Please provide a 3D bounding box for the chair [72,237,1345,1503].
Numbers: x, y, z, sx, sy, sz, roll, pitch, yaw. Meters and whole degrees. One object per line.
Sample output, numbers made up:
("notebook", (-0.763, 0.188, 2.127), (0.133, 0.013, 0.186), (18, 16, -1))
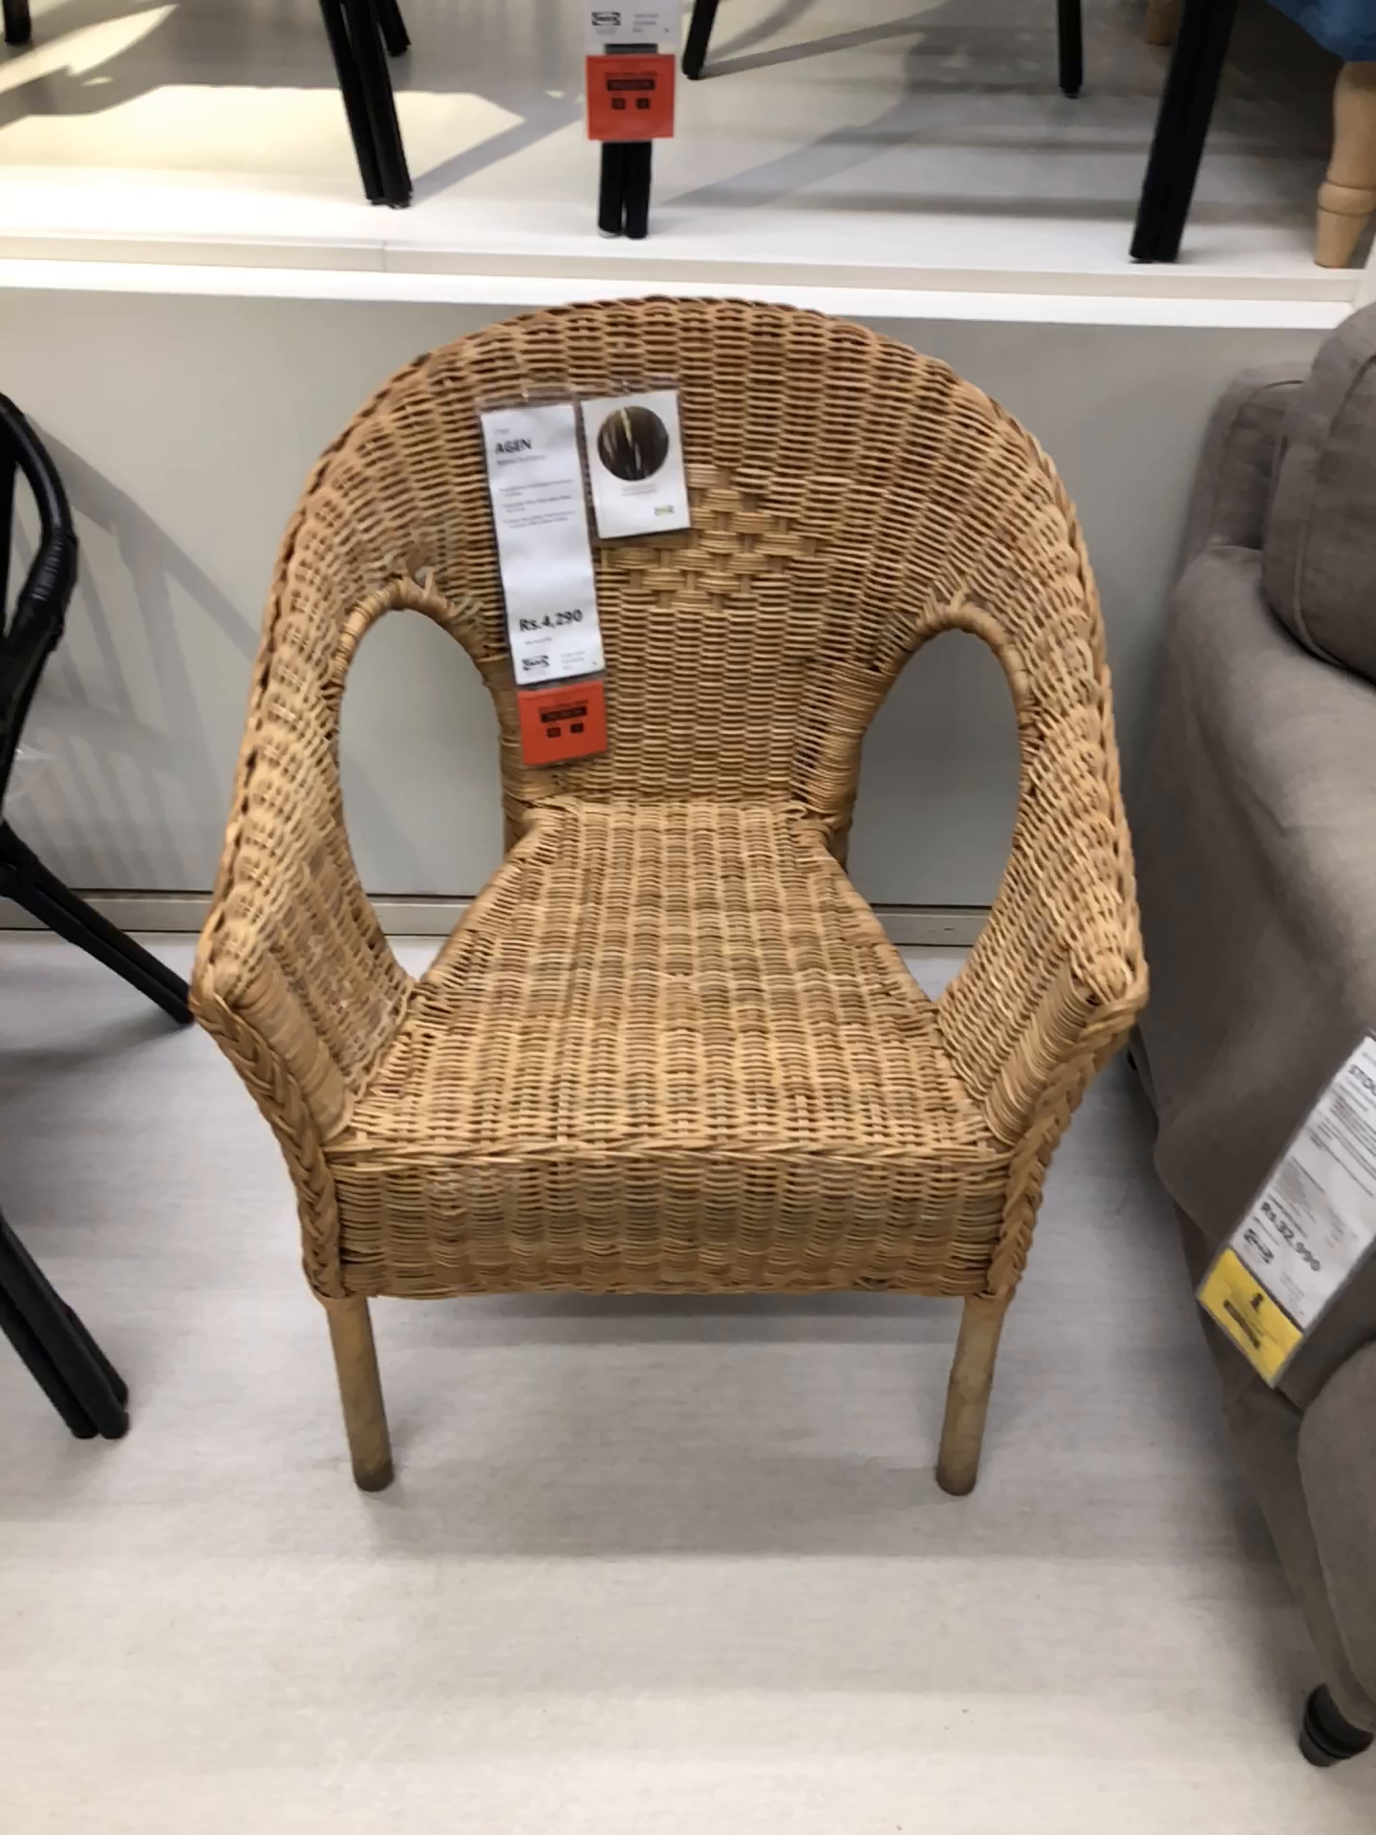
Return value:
("chair", (0.001, -0.022, 1.109), (0.550, 0.696, 0.604), (1, 44, -1))
